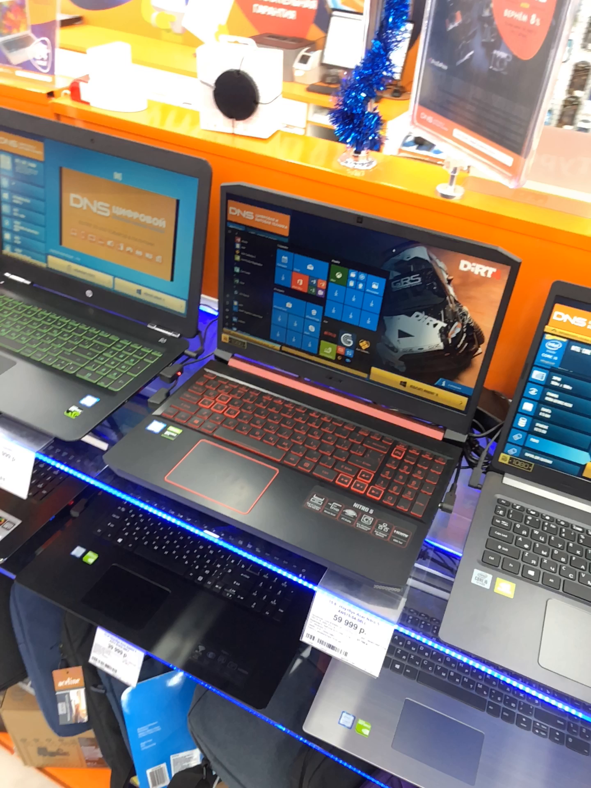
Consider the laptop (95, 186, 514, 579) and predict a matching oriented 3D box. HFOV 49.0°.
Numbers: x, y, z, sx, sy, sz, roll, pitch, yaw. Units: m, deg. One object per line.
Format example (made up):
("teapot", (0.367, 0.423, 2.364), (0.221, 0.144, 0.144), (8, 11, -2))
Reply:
("laptop", (0.013, -0.035, 0.692), (0.329, 0.231, 0.252), (20, 39, 17))
